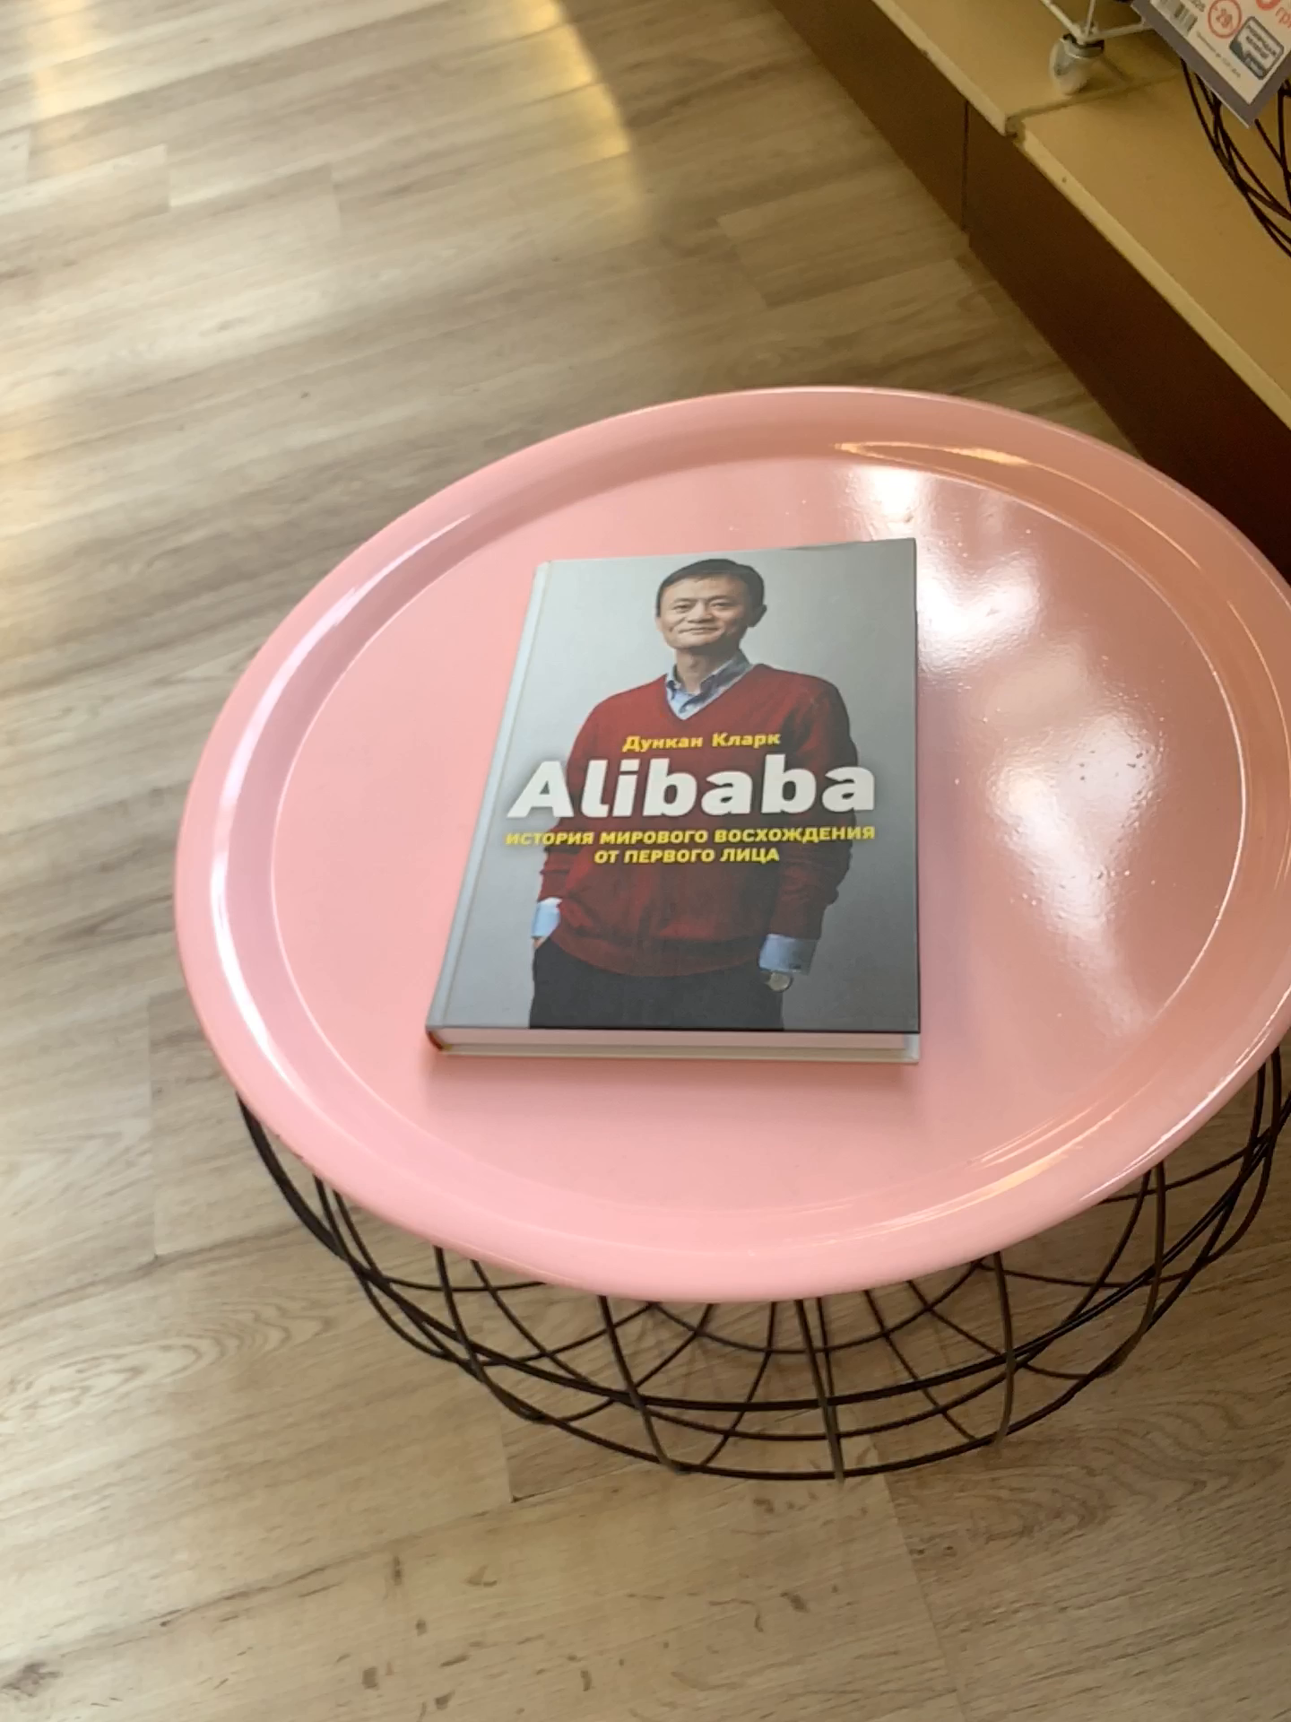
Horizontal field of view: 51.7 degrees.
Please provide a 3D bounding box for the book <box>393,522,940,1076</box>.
[{"bbox_3d":[0.020,-0.035,0.510,0.180,0.026,0.241,0,54,12],"label":"book"}]
